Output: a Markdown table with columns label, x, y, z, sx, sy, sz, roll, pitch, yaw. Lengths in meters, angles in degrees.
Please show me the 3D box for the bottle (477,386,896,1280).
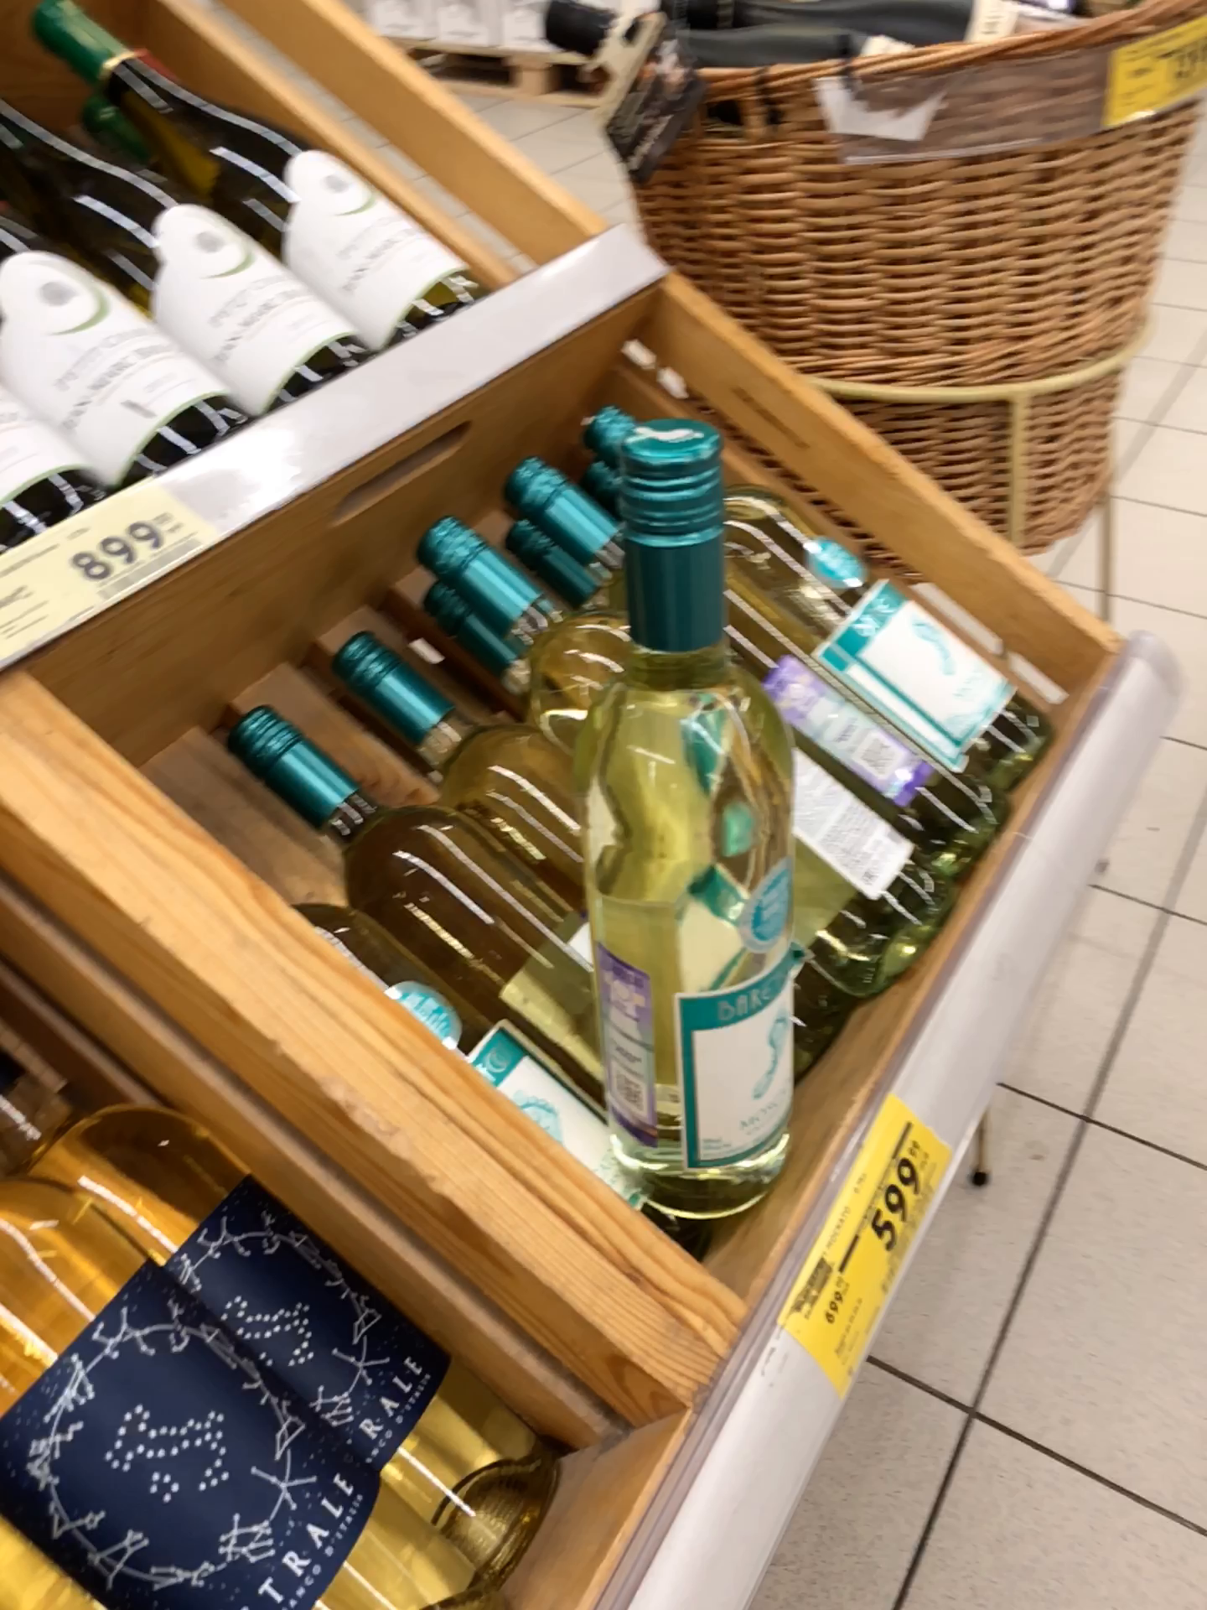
| label | x | y | z | sx | sy | sz | roll | pitch | yaw |
| --- | --- | --- | --- | --- | --- | --- | --- | --- | --- |
| bottle | 0.034 | 0.022 | 0.439 | 0.080 | 0.288 | 0.080 | -4 | 36 | 3 |
